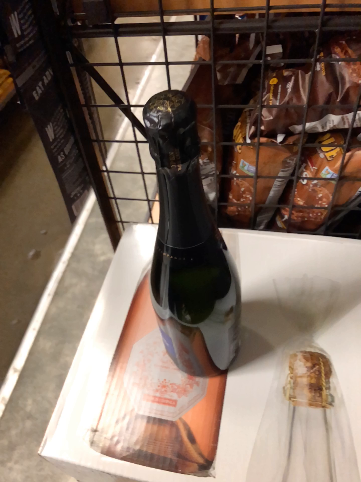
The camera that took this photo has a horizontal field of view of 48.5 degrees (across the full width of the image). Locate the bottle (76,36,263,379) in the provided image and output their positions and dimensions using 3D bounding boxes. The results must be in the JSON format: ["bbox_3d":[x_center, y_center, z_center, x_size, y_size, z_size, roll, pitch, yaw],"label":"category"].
[{"bbox_3d":[0.009,0.007,0.337,0.090,0.299,0.100,-1,49,6],"label":"bottle"}]
